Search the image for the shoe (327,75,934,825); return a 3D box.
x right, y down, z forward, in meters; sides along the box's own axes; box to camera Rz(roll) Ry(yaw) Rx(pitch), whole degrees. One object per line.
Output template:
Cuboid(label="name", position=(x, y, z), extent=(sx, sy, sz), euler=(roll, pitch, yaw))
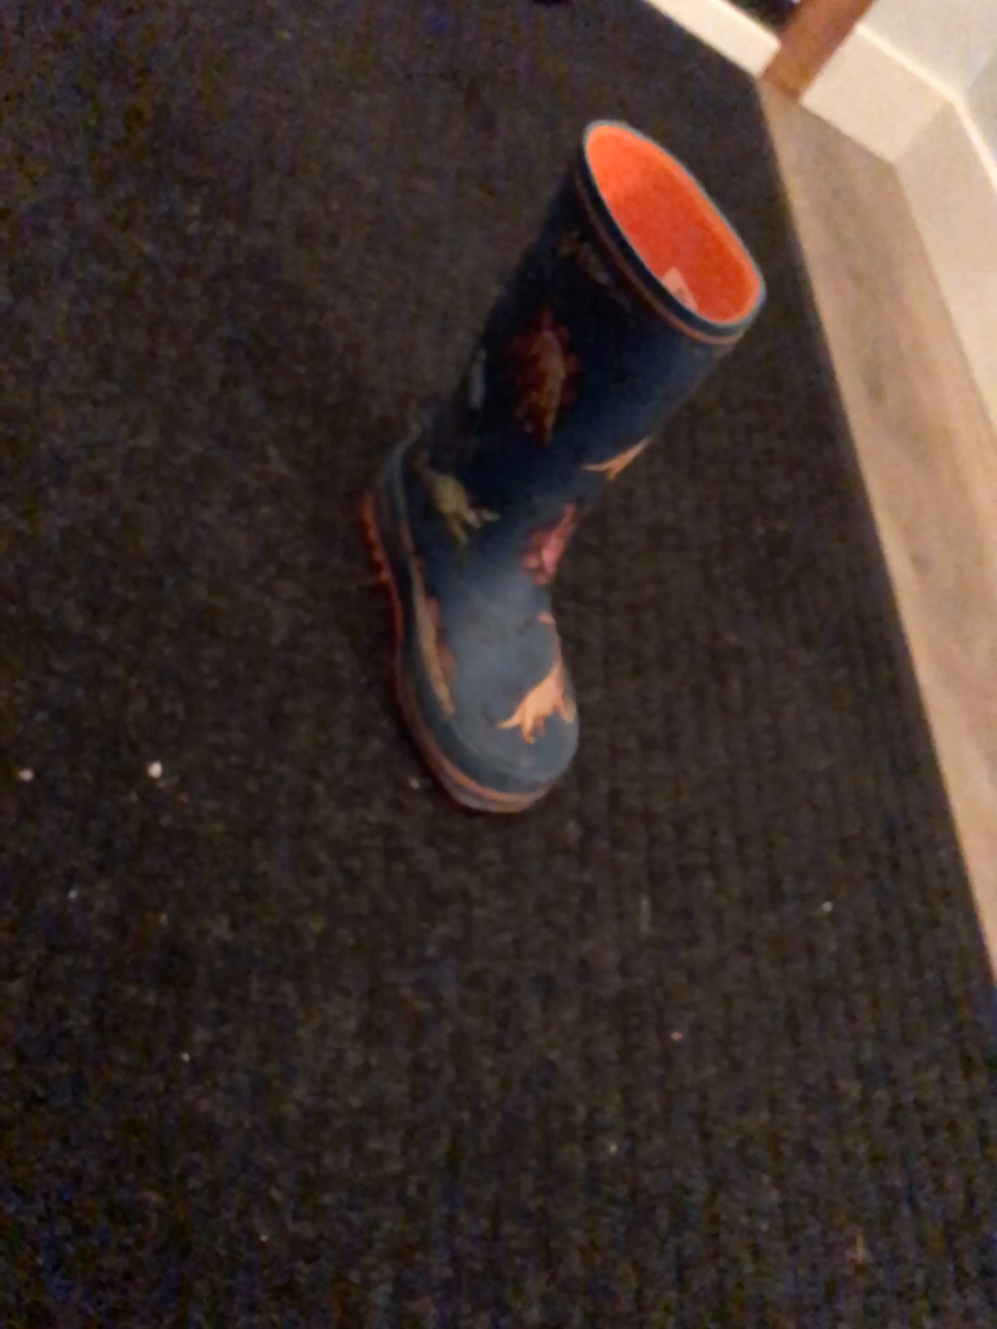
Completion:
Cuboid(label="shoe", position=(0.026, -0.068, 0.416), extent=(0.080, 0.179, 0.190), euler=(5, 53, -34))
